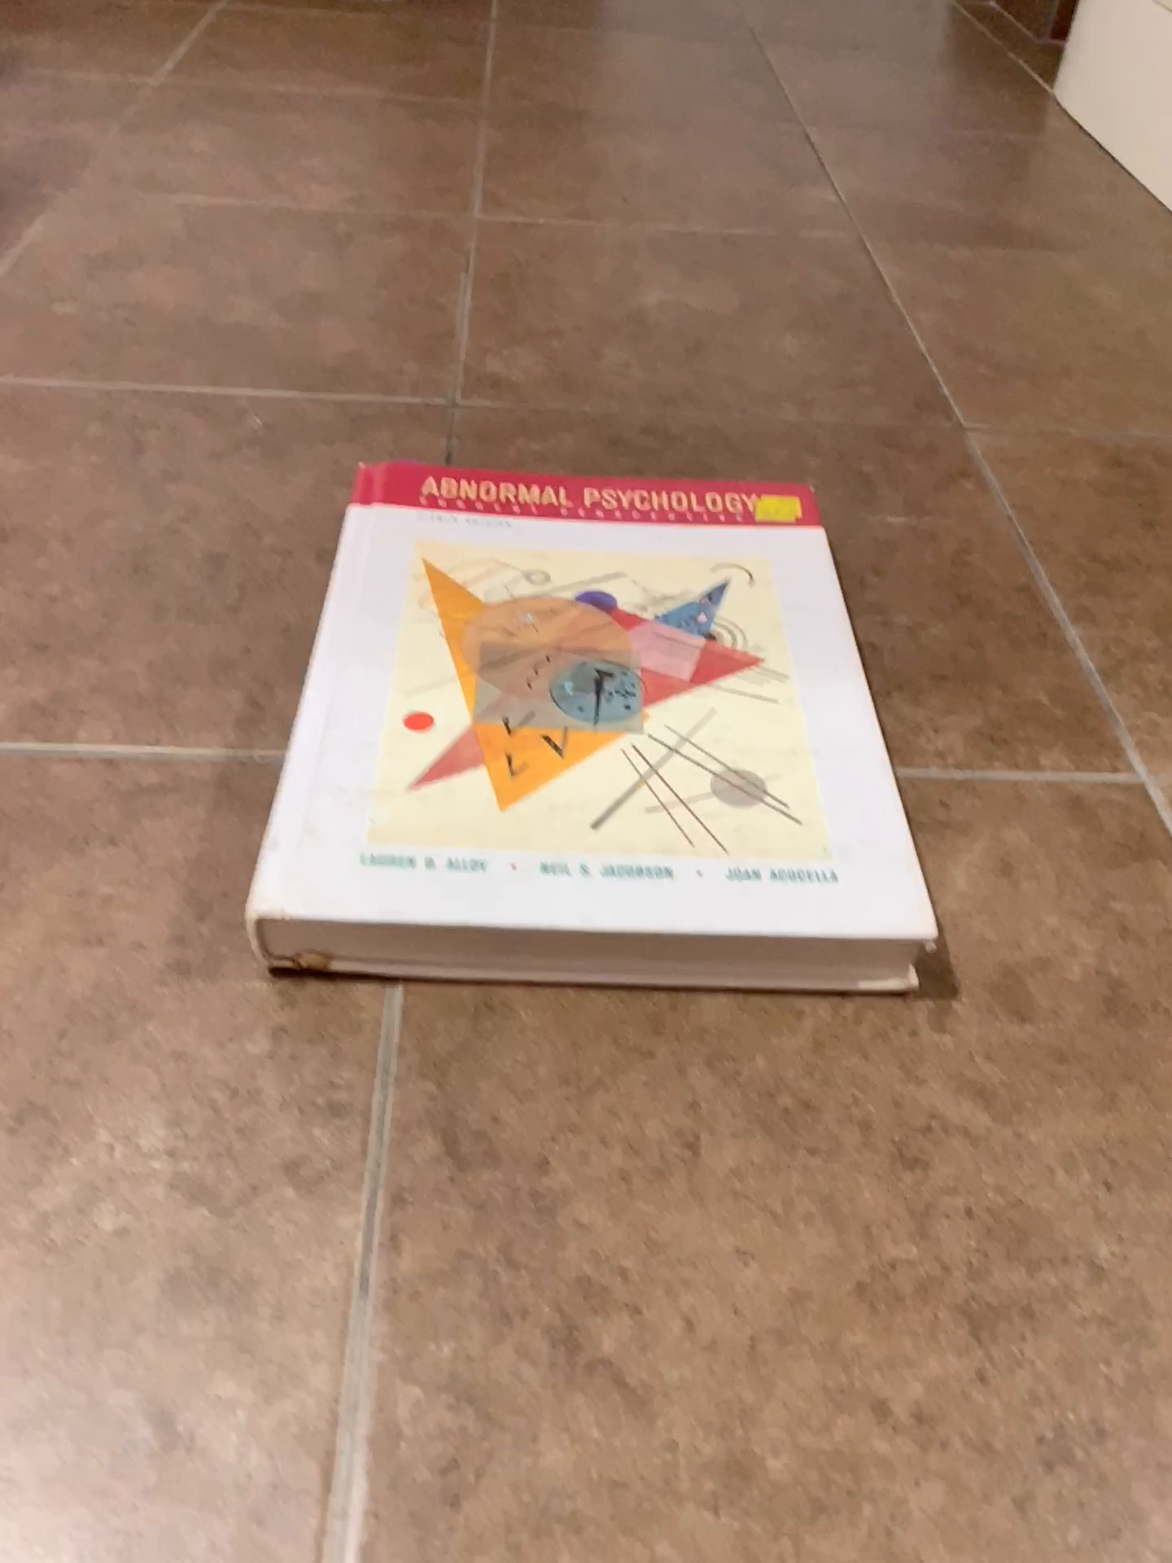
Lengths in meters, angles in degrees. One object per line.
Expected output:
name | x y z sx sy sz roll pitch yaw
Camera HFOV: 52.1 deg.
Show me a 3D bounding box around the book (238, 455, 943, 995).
book | 0.000 -0.043 0.493 0.222 0.031 0.290 2 44 -3
